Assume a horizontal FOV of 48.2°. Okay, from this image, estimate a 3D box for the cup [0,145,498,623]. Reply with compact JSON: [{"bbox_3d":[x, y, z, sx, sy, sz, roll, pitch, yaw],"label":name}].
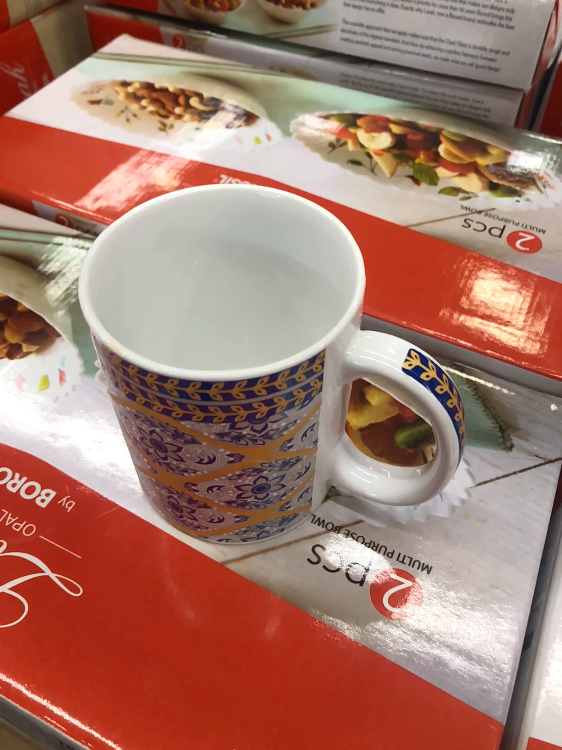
[{"bbox_3d":[-0.006,0.003,0.196,0.110,0.099,0.080,14,50,11],"label":"cup"}]
